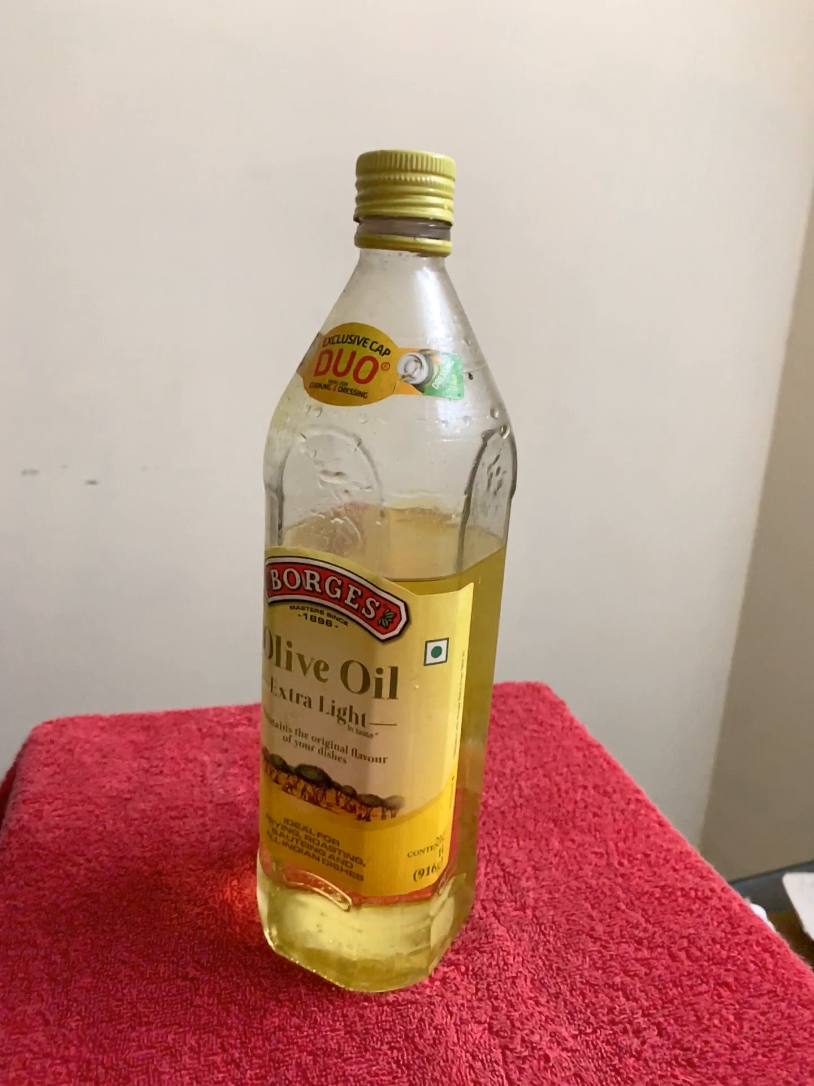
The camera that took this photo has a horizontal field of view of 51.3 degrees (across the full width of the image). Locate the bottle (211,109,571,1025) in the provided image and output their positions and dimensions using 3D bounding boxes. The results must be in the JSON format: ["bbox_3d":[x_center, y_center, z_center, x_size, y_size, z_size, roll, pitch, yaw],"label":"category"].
[{"bbox_3d":[-0.010,0.011,0.285,0.080,0.269,0.070,13,19,31],"label":"bottle"}]
